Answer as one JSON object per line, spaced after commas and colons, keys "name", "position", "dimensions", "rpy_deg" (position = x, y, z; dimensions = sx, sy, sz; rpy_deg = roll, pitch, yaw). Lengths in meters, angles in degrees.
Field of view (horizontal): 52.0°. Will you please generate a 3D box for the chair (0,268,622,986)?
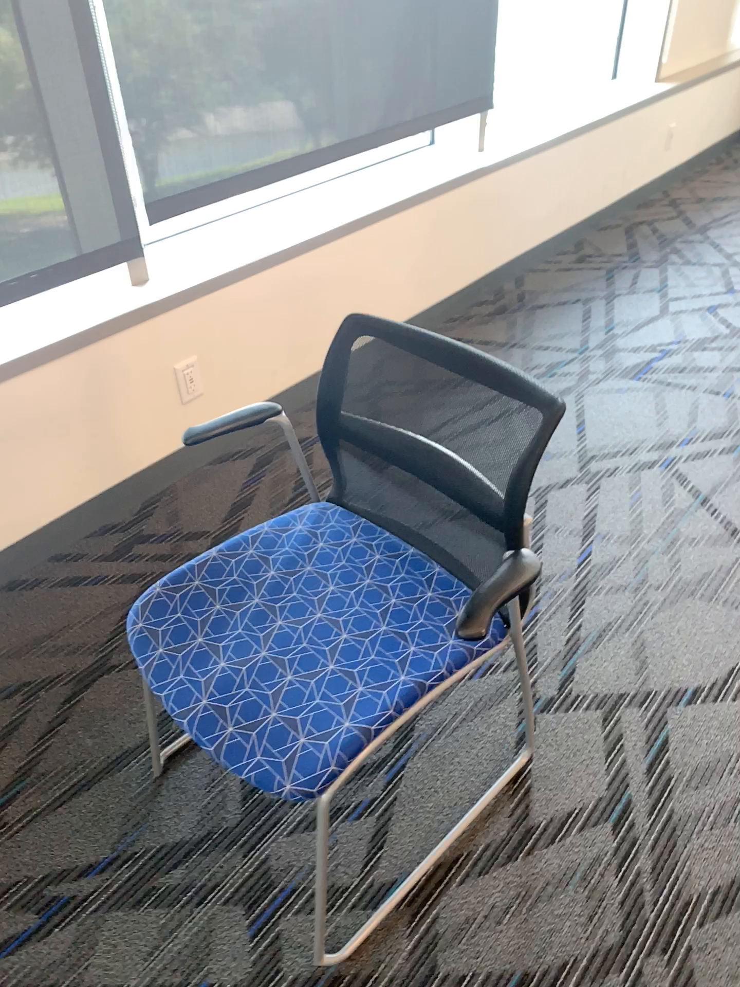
{"name": "chair", "position": [-0.071, 0.174, 1.170], "dimensions": [0.583, 0.763, 0.533], "rpy_deg": [-32, 47, -33]}
